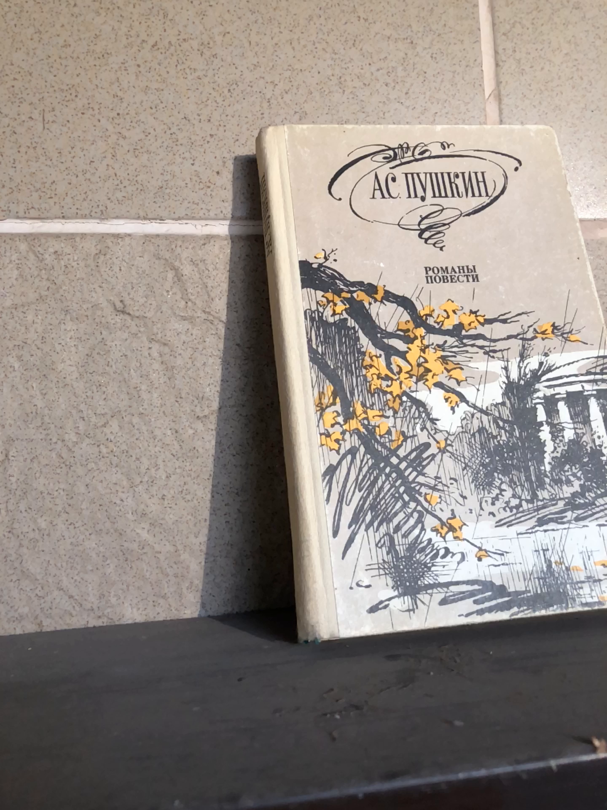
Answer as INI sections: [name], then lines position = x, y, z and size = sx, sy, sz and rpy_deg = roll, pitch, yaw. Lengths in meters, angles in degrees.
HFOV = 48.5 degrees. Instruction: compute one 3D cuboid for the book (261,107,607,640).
[book]
position = 0.054, -0.019, 0.263
size = 0.125, 0.198, 0.040
rpy_deg = -2, -18, -9
